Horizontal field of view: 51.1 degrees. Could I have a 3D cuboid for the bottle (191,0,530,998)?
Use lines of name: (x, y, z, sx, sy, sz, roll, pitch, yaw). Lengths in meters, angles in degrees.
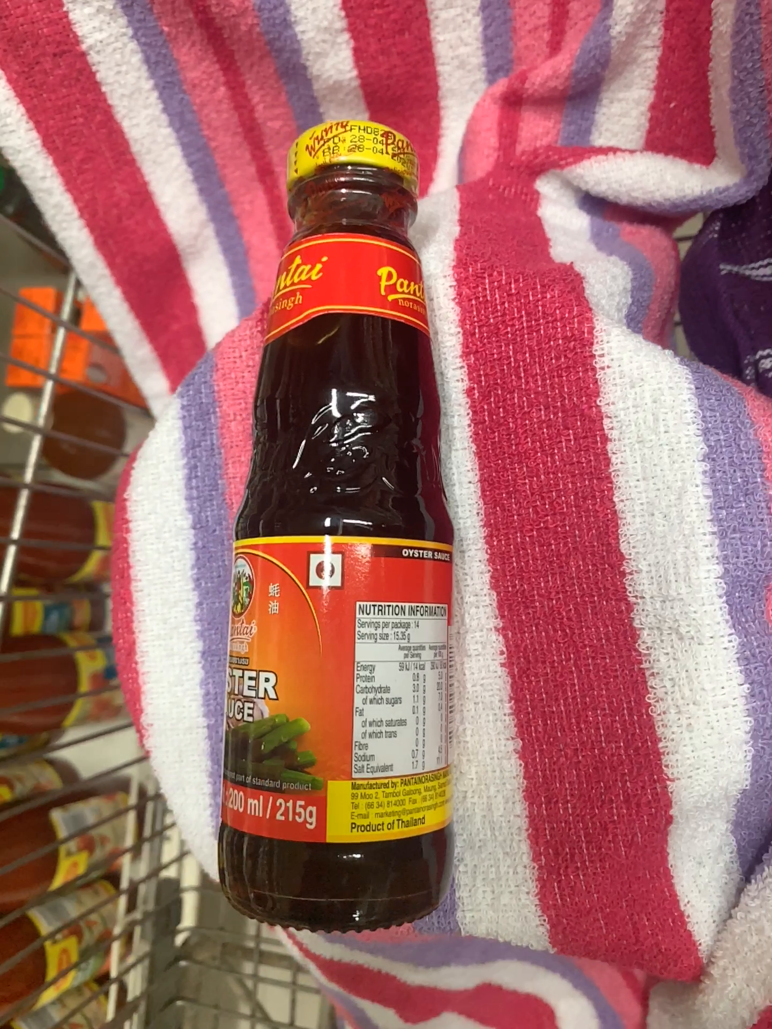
bottle: (-0.005, -0.008, 0.182, 0.050, 0.050, 0.190, -10, 75, 57)
